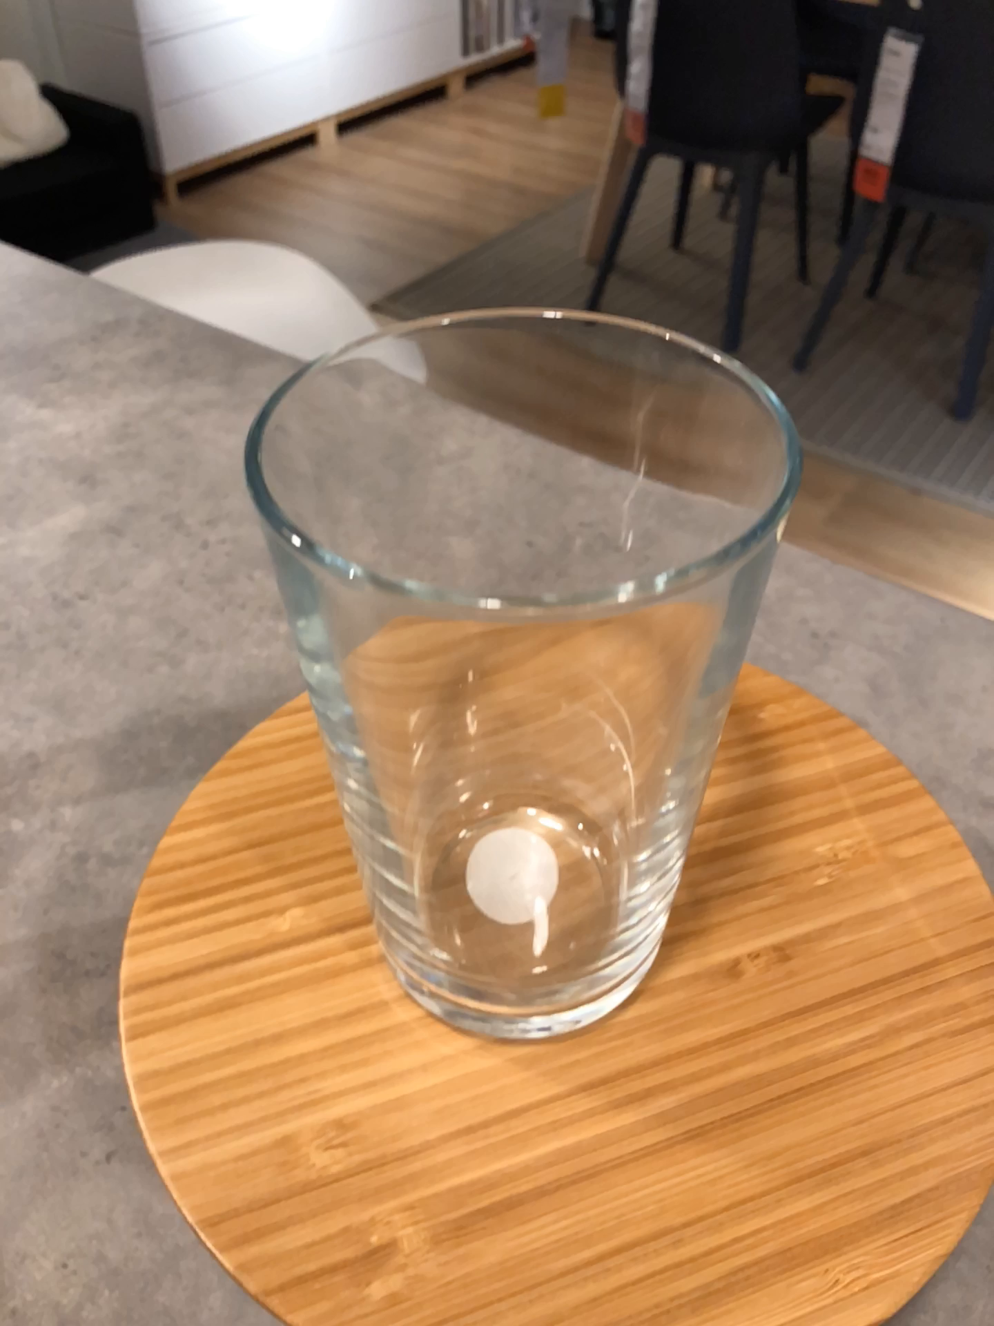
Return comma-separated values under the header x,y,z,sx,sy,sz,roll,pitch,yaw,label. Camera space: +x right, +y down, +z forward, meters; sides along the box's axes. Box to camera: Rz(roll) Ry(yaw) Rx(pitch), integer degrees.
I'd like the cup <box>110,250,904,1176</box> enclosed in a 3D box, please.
x,y,z,sx,sy,sz,roll,pitch,yaw,label
0.007,0.009,0.235,0.100,0.139,0.100,1,41,0,cup
